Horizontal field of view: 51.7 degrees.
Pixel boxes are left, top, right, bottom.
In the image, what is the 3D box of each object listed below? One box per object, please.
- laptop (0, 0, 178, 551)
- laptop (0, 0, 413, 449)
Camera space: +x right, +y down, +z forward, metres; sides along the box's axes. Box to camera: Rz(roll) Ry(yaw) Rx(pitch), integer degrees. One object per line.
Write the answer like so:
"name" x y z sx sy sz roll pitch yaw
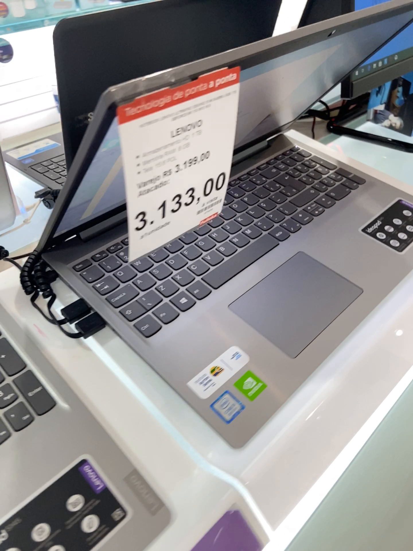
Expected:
"laptop" -0.282 0.032 0.163 0.352 0.224 0.347 33 49 29
"laptop" 0.055 -0.105 0.375 0.242 0.163 0.360 35 52 30
